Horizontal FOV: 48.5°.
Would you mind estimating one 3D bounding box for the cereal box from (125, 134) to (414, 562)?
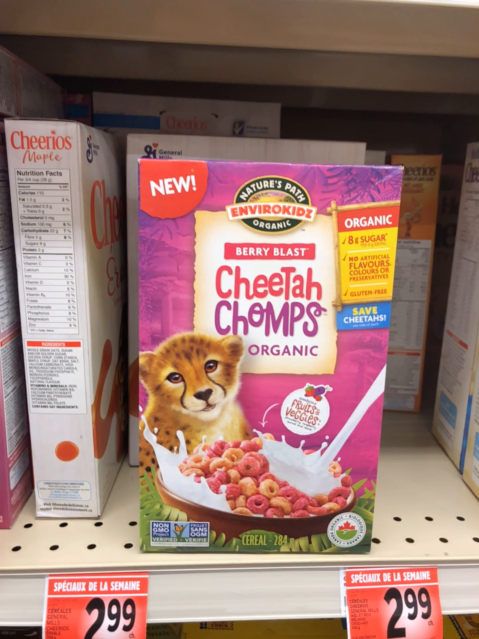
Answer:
[{"bbox_3d":[0.013,0.020,0.353,0.160,0.259,0.070,1,11,-1],"label":"cereal box"}]
